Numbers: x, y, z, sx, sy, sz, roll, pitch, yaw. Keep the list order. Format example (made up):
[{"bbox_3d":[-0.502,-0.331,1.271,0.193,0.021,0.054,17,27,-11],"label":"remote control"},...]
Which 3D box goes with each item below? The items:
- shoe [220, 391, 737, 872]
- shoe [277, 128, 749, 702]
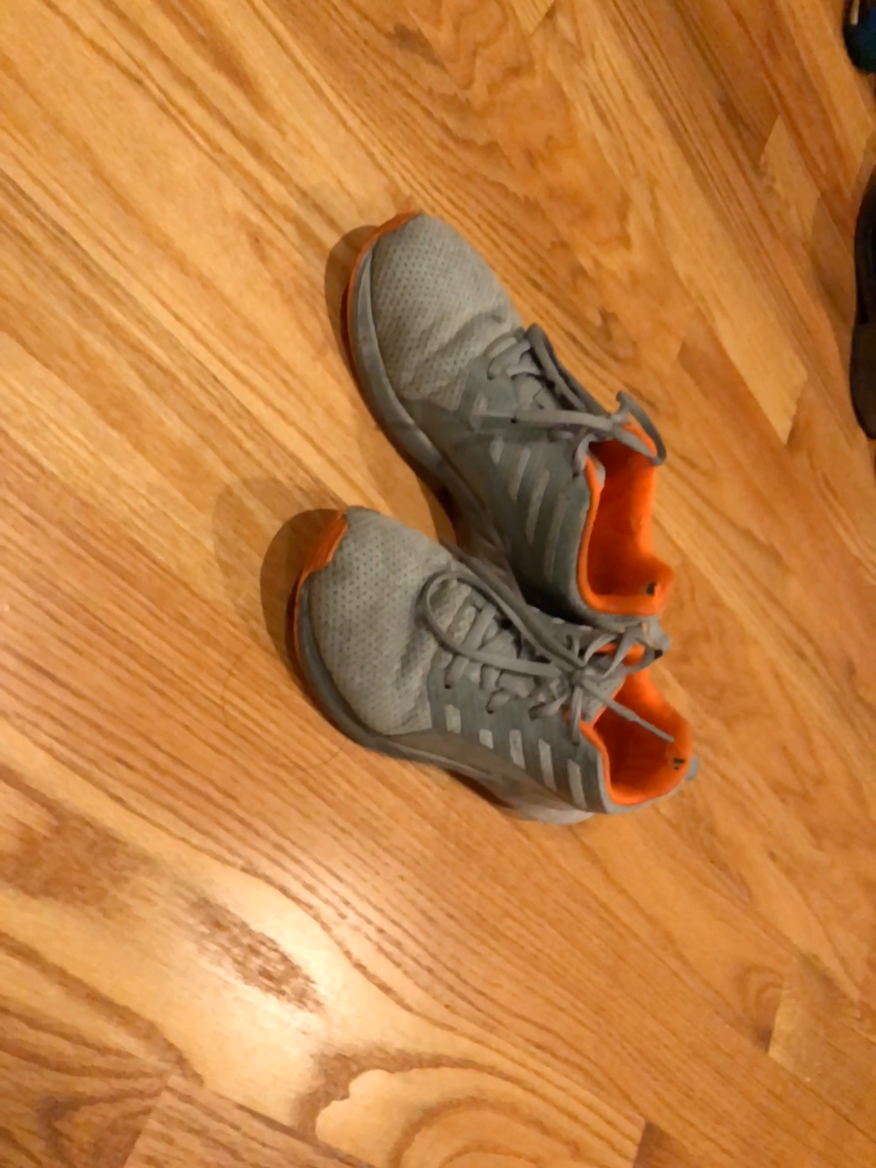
[{"bbox_3d":[0.037,0.036,0.464,0.251,0.080,0.110,38,61,-34],"label":"shoe"},{"bbox_3d":[0.047,-0.070,0.483,0.100,0.100,0.250,-47,117,-36],"label":"shoe"}]
